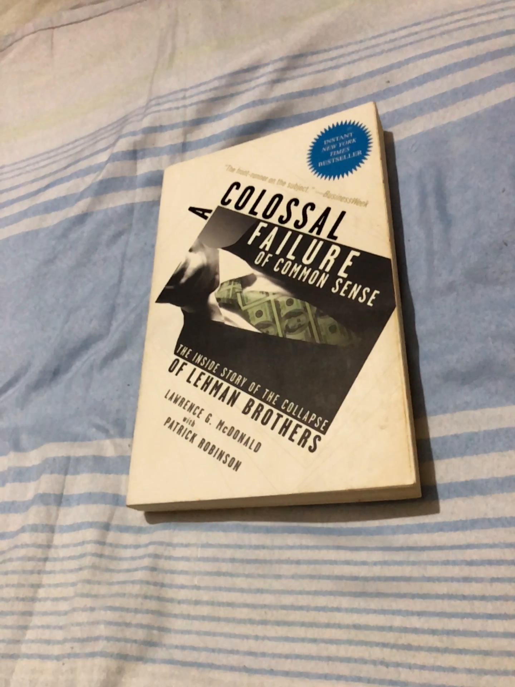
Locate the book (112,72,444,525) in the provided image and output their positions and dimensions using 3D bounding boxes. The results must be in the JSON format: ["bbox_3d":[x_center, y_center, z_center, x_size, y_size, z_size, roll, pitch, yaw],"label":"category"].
[{"bbox_3d":[0.007,-0.026,0.299,0.140,0.040,0.220,-10,63,20],"label":"book"}]
